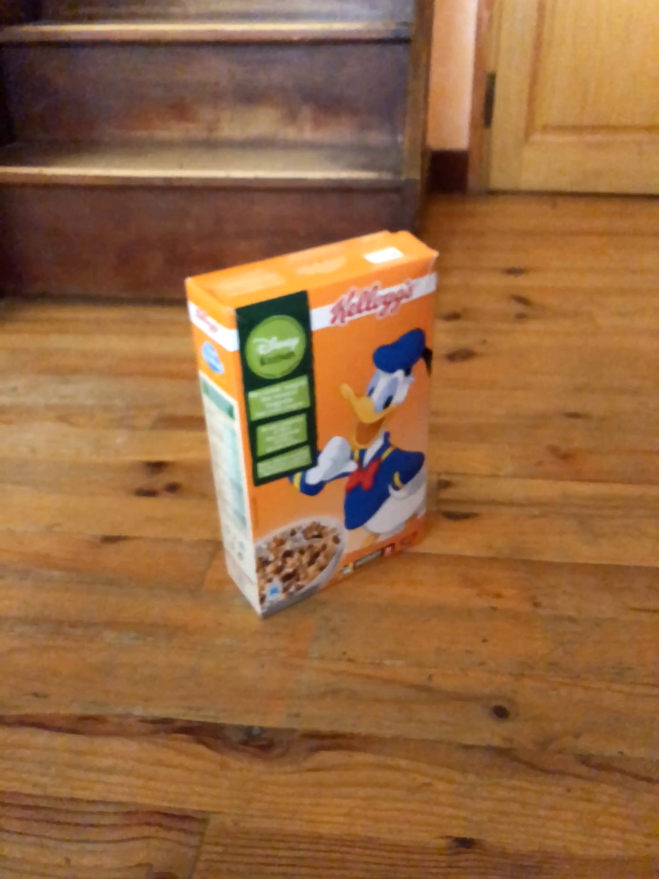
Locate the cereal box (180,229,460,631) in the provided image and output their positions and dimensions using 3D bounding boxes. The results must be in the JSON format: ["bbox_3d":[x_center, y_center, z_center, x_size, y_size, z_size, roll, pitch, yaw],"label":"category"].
[{"bbox_3d":[-0.001,-0.009,0.646,0.201,0.298,0.090,-20,36,-27],"label":"cereal box"}]
